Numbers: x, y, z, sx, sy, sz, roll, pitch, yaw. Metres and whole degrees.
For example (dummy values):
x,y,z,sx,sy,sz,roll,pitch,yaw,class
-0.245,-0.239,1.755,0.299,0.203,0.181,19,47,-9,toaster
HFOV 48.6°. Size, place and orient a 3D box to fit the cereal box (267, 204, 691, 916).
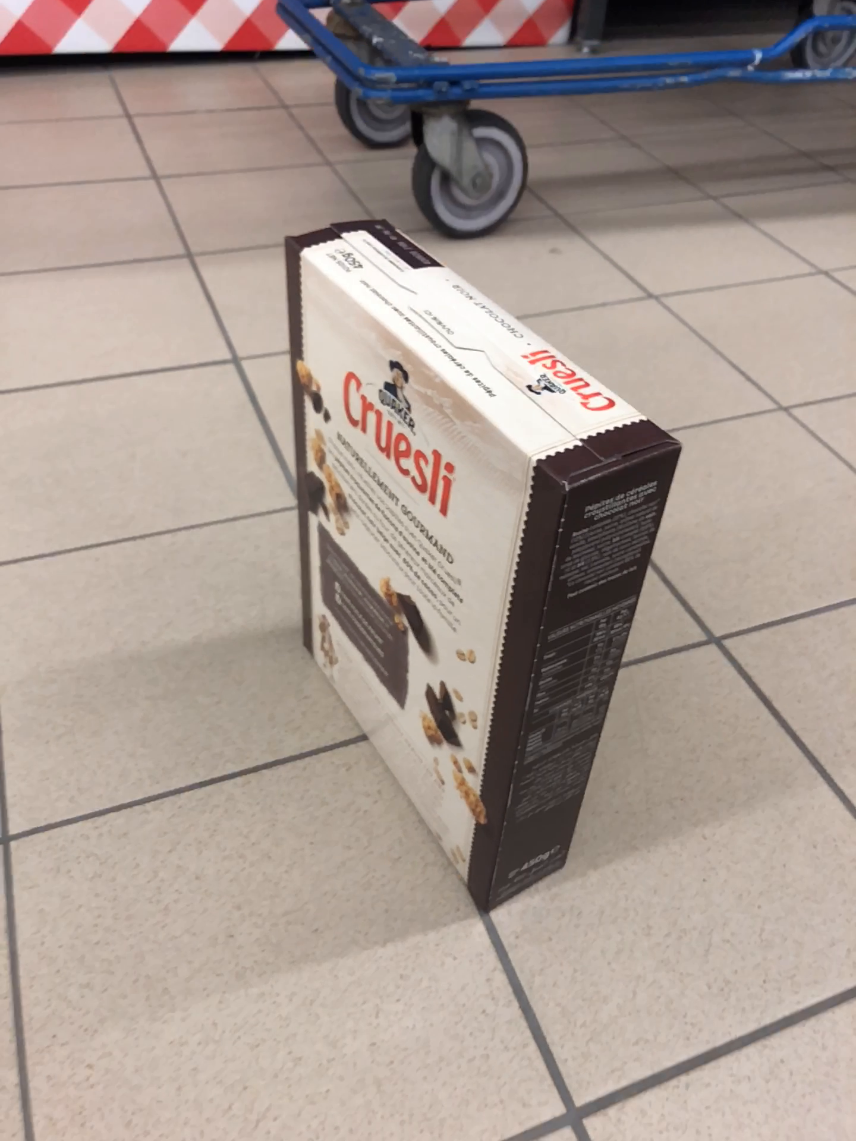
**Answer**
x,y,z,sx,sy,sz,roll,pitch,yaw,class
-0.001,-0.002,0.417,0.050,0.238,0.201,-19,47,-25,cereal box
